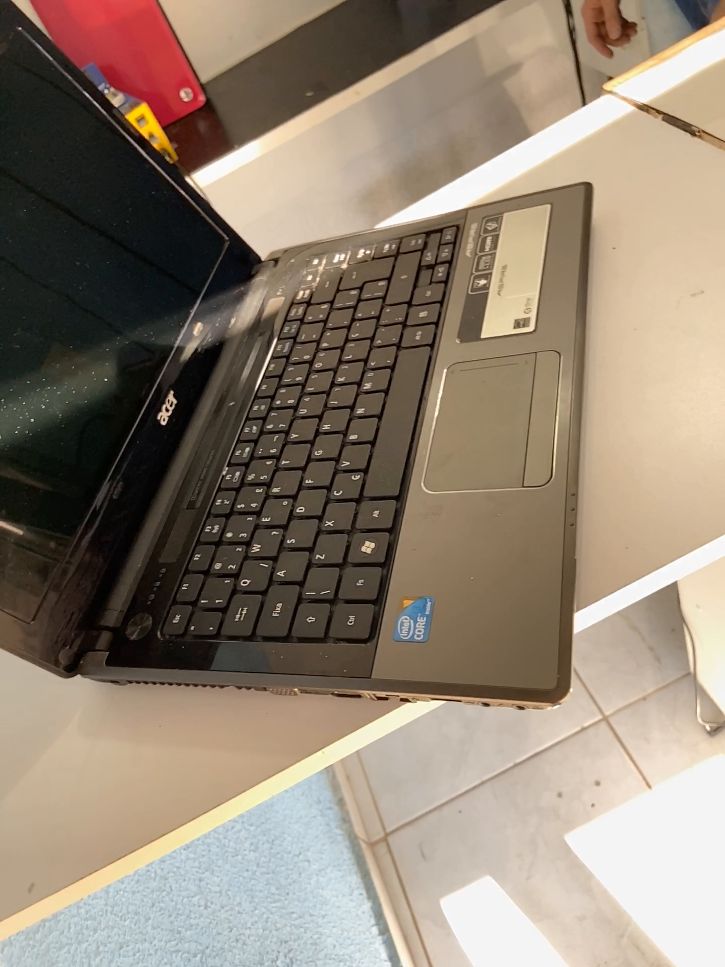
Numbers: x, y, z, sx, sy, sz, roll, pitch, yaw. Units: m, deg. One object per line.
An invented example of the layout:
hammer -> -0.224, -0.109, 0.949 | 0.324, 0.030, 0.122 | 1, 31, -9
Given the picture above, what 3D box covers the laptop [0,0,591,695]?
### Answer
laptop -> -0.074, -0.110, 0.365 | 0.318, 0.207, 0.338 | -4, 51, 24
